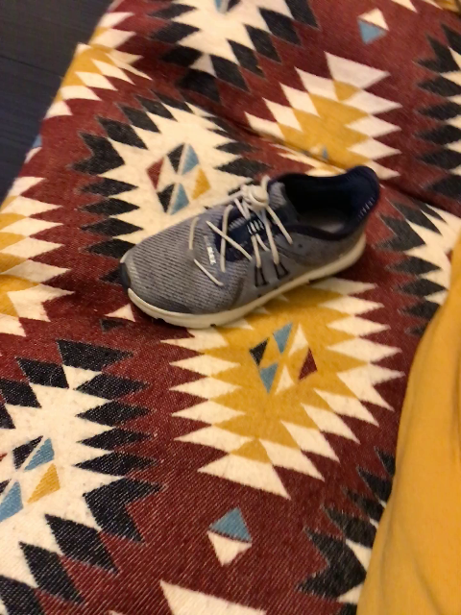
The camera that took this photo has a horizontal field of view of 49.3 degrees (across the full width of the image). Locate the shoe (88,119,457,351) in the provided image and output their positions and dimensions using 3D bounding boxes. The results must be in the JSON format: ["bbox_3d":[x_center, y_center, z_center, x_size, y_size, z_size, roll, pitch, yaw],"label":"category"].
[{"bbox_3d":[0.024,-0.049,0.344,0.212,0.074,0.094,-13,73,-10],"label":"shoe"}]
